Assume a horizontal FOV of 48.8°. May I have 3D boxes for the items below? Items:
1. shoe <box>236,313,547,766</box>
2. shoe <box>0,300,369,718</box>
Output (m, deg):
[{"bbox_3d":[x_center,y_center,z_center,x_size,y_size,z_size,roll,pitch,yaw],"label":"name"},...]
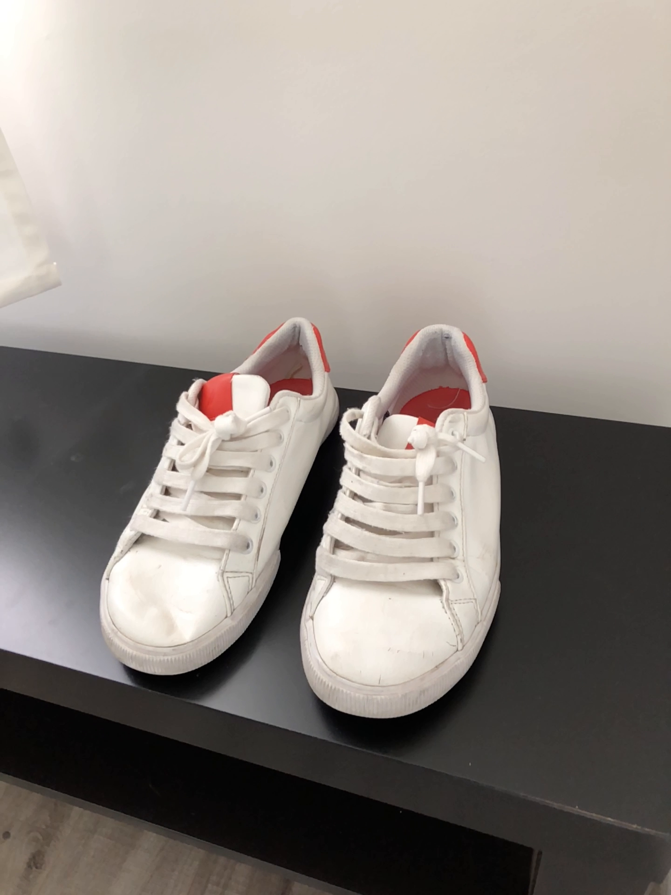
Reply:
[{"bbox_3d":[0.045,0.028,0.392,0.100,0.080,0.230,8,43,17],"label":"shoe"},{"bbox_3d":[-0.064,0.015,0.421,0.102,0.080,0.236,8,43,17],"label":"shoe"}]
